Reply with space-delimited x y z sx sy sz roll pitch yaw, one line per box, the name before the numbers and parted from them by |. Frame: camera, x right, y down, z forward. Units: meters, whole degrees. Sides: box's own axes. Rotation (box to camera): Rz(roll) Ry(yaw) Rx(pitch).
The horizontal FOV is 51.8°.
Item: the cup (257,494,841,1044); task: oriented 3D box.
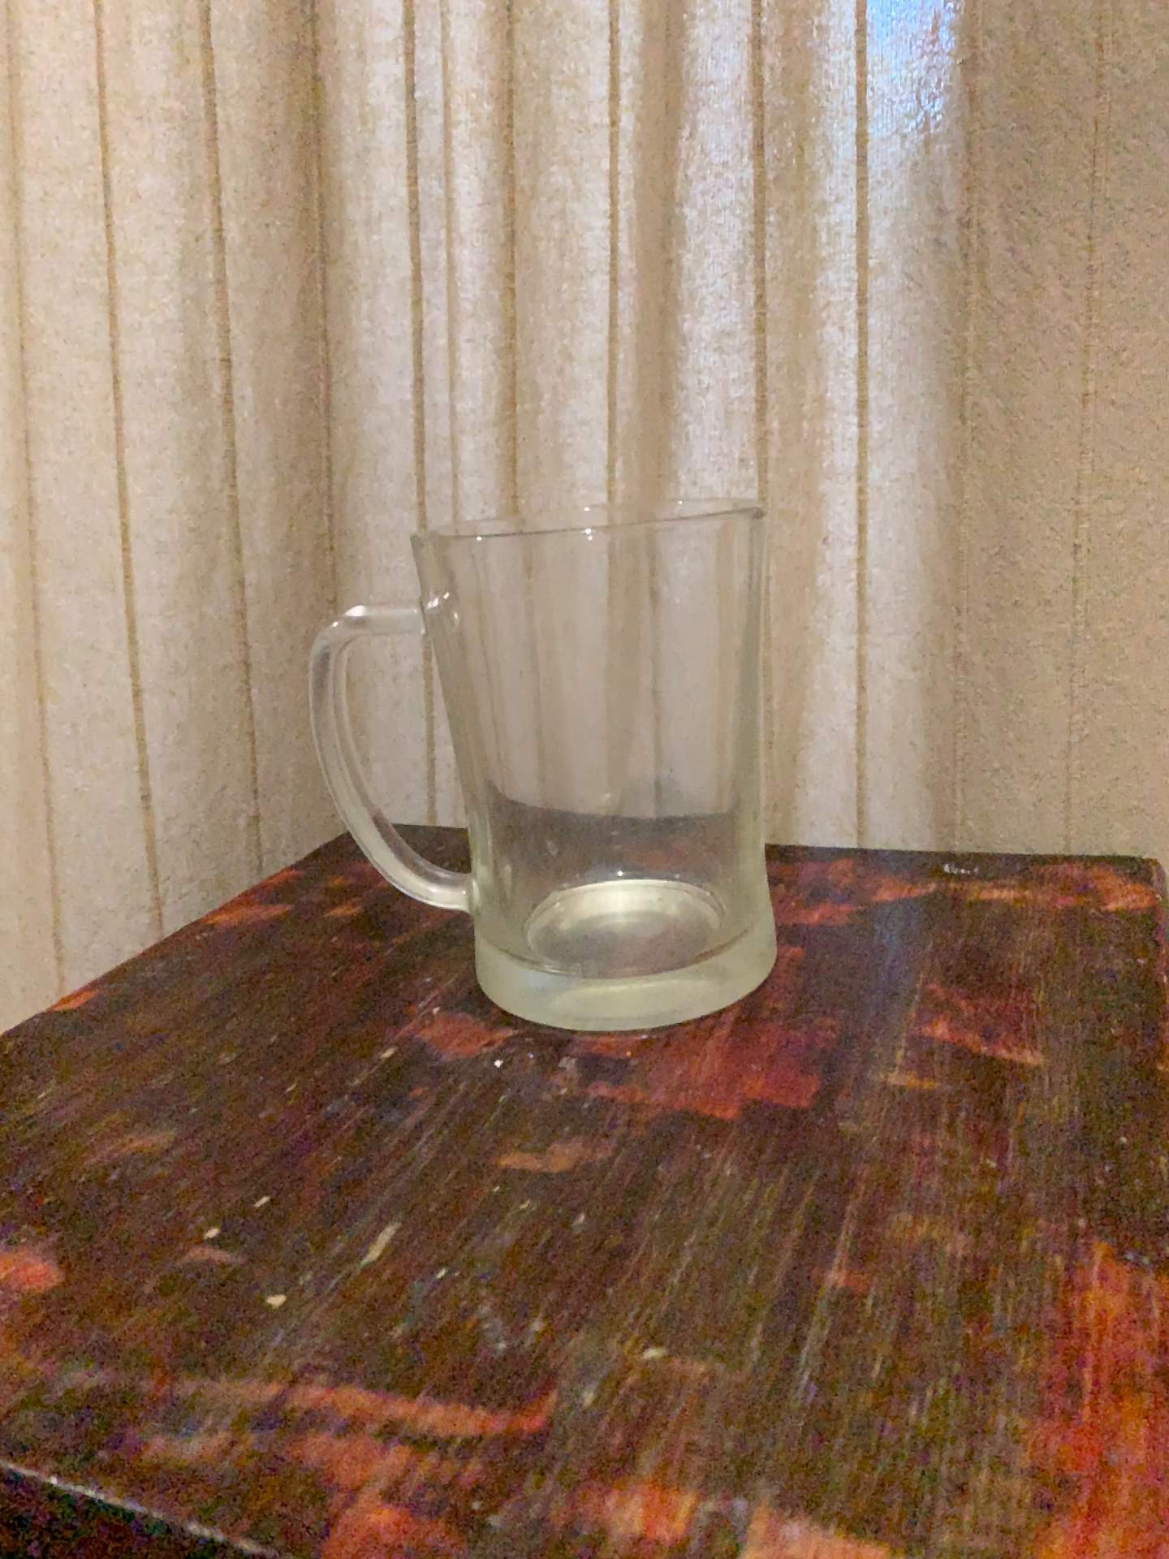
cup | -0.004 -0.010 0.358 0.142 0.136 0.101 -2 15 3
